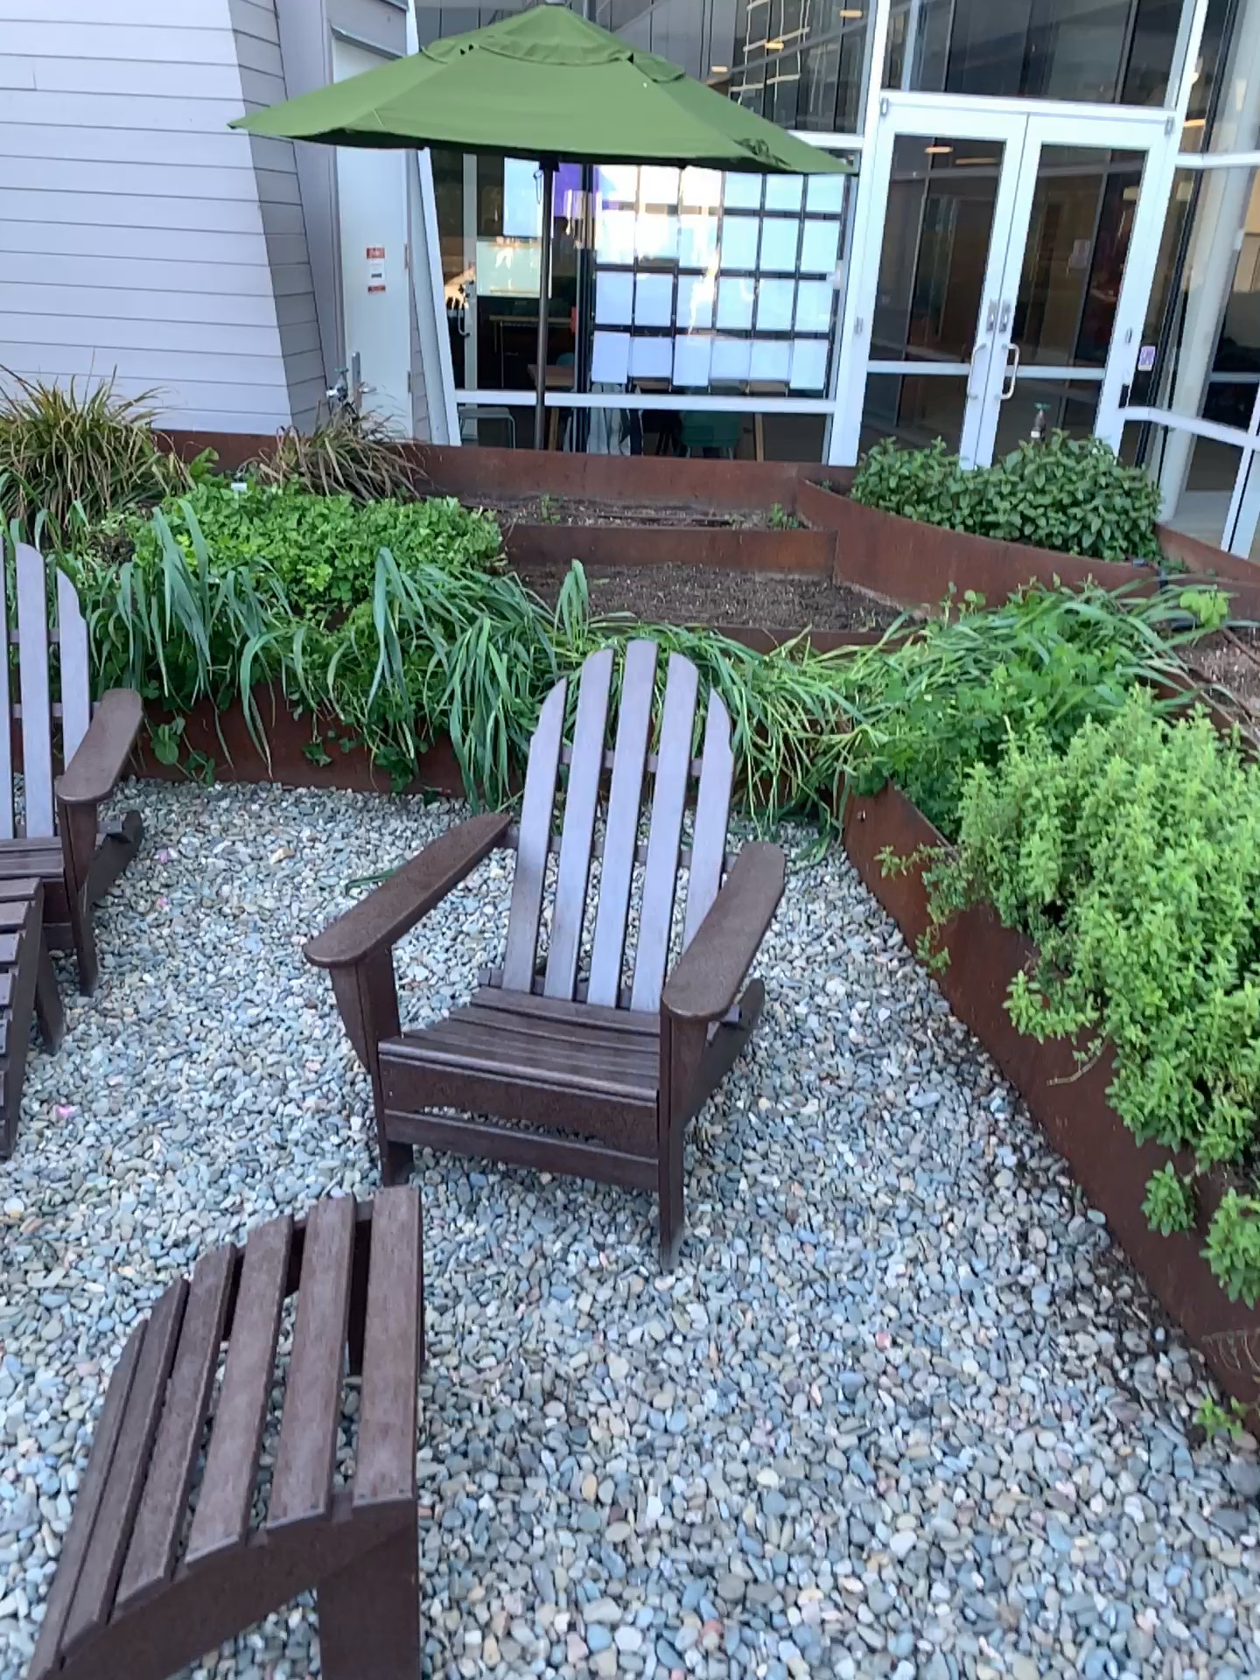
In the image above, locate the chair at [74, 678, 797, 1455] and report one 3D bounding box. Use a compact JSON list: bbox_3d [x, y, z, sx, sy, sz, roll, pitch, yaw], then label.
[{"bbox_3d":[-0.355,0.359,2.725,1.002,0.995,1.003,16,28,26],"label":"chair"}]
